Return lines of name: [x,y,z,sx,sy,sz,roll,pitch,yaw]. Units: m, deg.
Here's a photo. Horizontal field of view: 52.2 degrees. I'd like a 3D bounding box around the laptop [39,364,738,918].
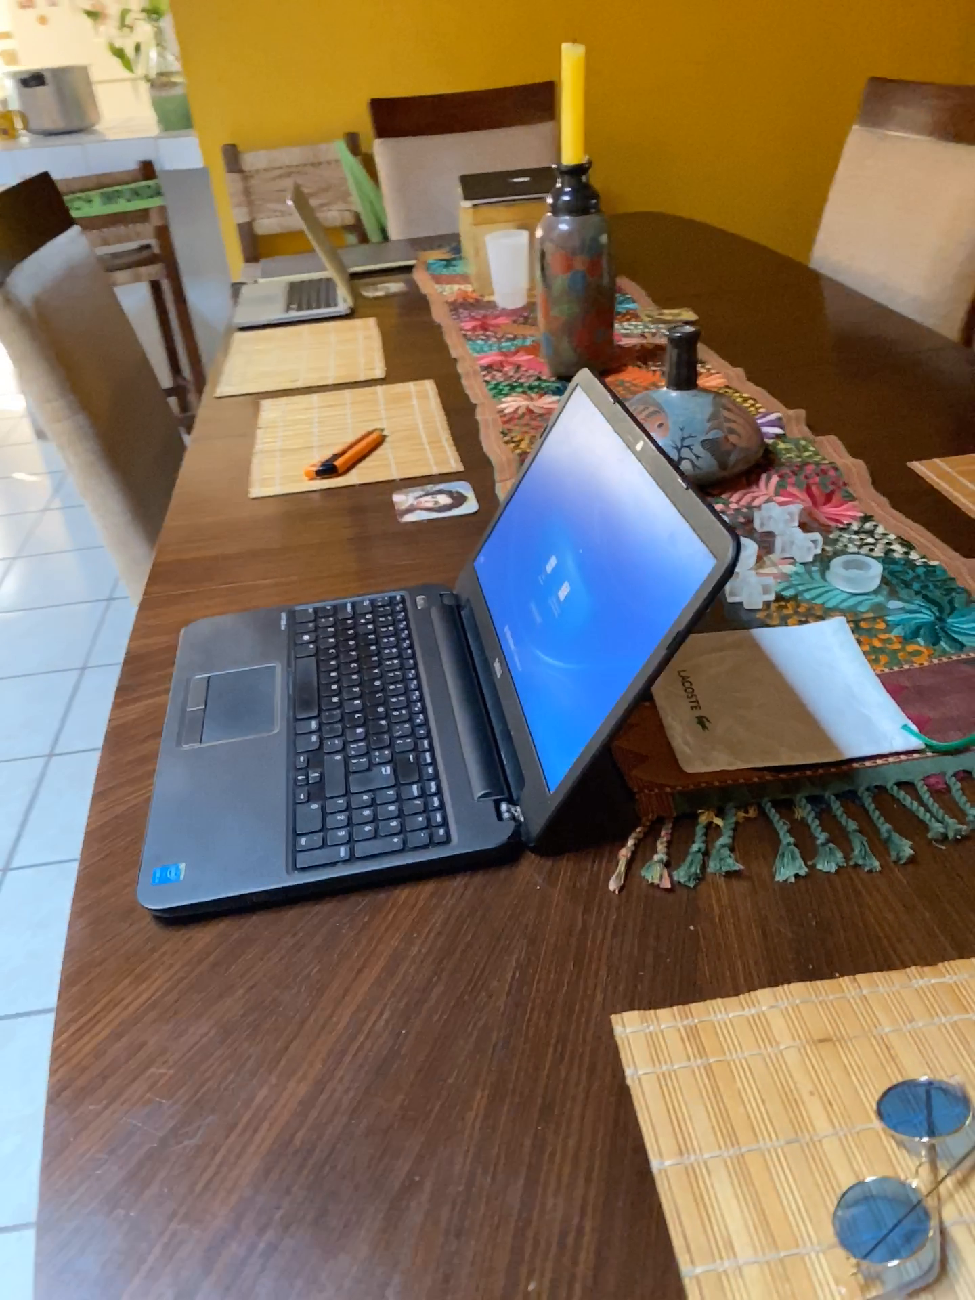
laptop: [-0.073,-0.040,0.762,0.395,0.194,0.369,-10,33,-6]
